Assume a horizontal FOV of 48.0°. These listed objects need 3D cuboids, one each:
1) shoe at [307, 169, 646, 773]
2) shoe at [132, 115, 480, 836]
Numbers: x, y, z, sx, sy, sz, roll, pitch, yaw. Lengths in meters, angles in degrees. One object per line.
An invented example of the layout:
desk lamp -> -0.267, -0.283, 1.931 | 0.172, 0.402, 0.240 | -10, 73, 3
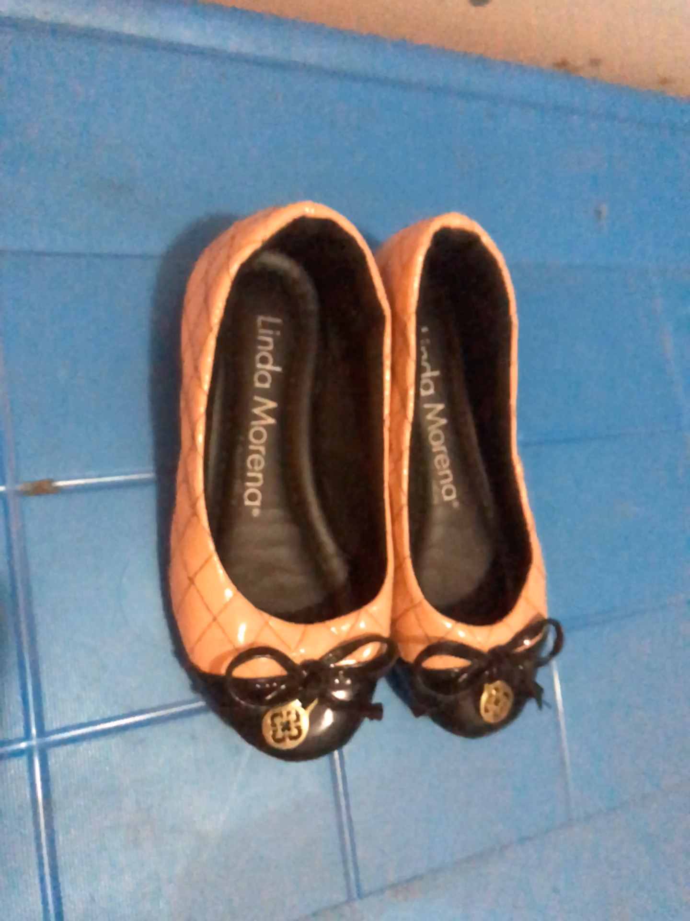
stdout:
shoe -> 0.044, 0.002, 0.294 | 0.070, 0.080, 0.190 | -5, 86, -27
shoe -> -0.019, 0.003, 0.255 | 0.070, 0.080, 0.190 | -4, 86, -27
